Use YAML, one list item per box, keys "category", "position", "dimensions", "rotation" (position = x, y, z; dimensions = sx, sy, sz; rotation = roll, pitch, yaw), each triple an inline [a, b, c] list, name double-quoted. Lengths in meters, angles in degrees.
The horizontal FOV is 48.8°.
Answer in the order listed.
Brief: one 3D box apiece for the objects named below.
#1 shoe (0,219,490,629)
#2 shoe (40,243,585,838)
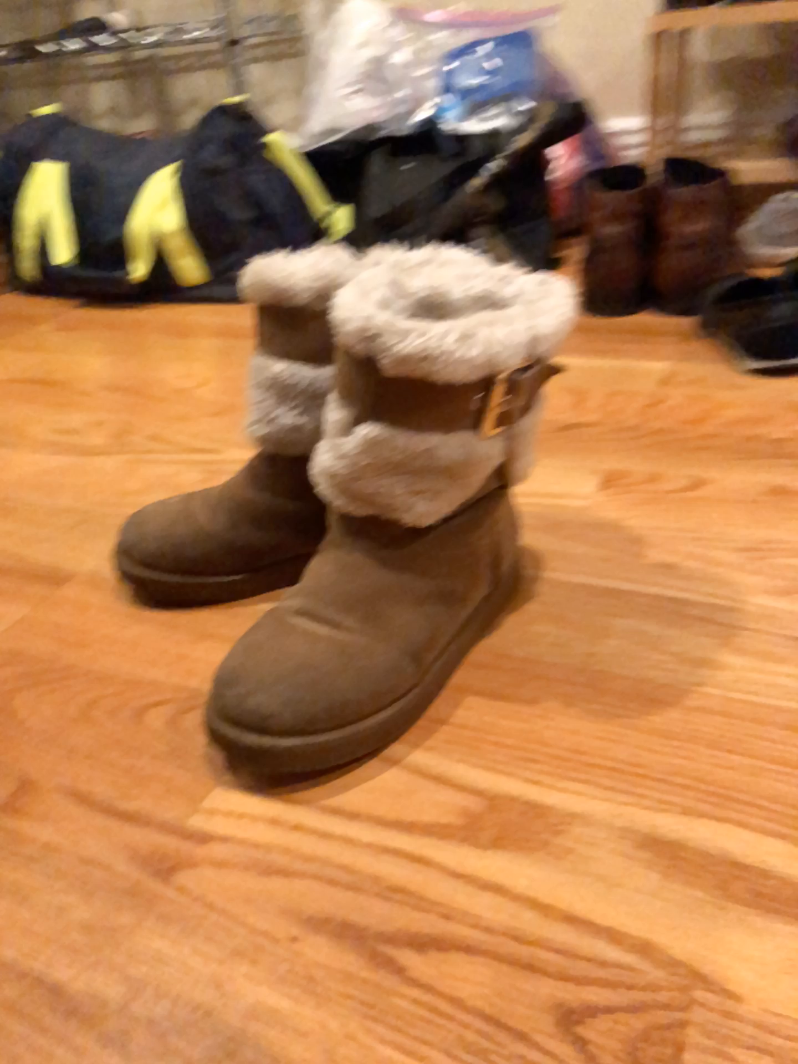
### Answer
- category: "shoe"
  position: [-0.084, -0.073, 0.558]
  dimensions: [0.254, 0.193, 0.107]
  rotation: [-11, 29, -8]
- category: "shoe"
  position: [-0.014, -0.020, 0.455]
  dimensions: [0.113, 0.193, 0.255]
  rotation: [16, 36, 34]
